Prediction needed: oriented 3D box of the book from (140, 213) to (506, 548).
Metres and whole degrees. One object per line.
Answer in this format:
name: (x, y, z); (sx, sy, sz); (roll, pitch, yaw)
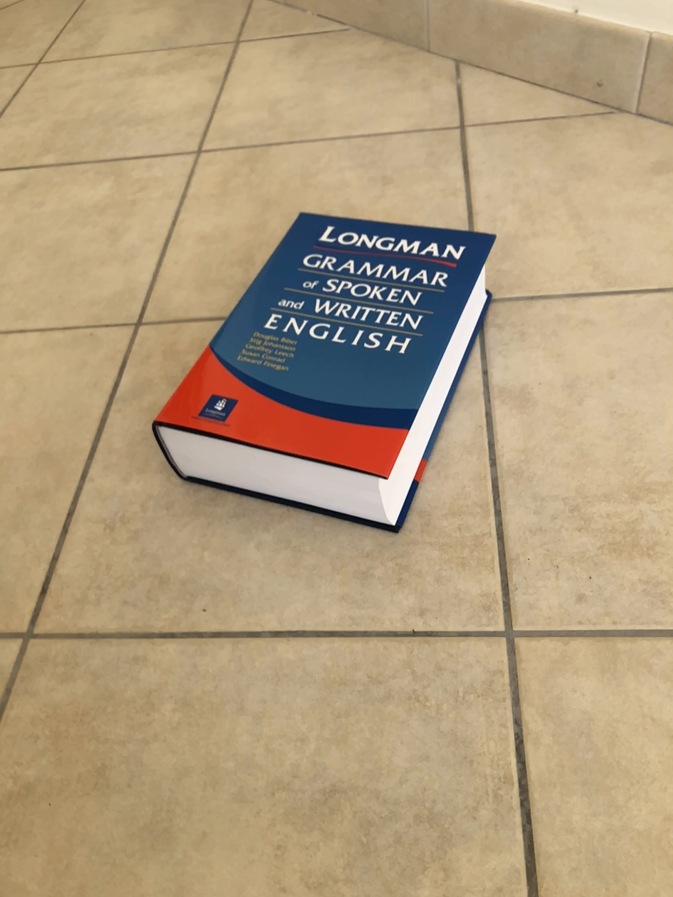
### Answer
book: (0.005, -0.068, 0.545); (0.177, 0.060, 0.251); (13, 53, 20)
